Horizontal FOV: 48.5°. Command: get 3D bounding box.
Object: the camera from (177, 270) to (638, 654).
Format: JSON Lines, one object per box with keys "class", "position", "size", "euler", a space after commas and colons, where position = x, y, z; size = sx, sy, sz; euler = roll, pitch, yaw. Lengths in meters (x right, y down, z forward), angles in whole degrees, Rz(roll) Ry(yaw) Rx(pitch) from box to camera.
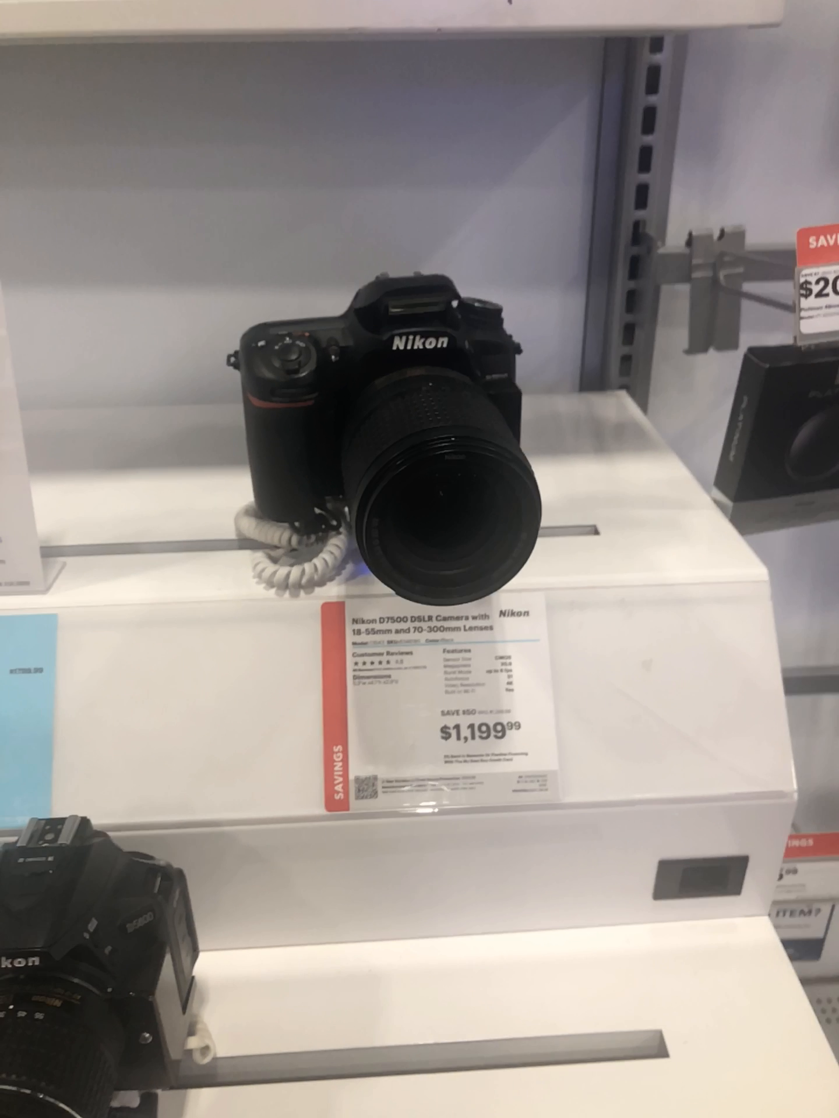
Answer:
{"class": "camera", "position": [-0.013, -0.055, 0.416], "size": [0.160, 0.109, 0.161], "euler": [-5, 28, -7]}
